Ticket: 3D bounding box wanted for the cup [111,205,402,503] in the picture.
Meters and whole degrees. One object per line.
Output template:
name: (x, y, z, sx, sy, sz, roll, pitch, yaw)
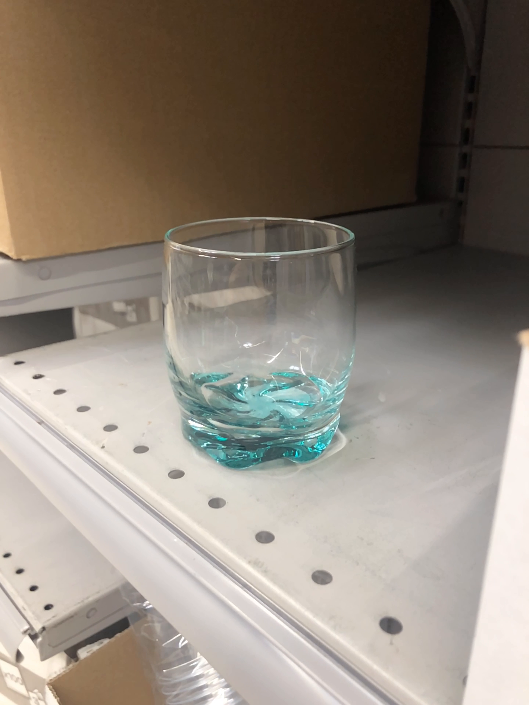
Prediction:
cup: (-0.006, -0.008, 0.234, 0.074, 0.082, 0.082, -15, 27, -33)
